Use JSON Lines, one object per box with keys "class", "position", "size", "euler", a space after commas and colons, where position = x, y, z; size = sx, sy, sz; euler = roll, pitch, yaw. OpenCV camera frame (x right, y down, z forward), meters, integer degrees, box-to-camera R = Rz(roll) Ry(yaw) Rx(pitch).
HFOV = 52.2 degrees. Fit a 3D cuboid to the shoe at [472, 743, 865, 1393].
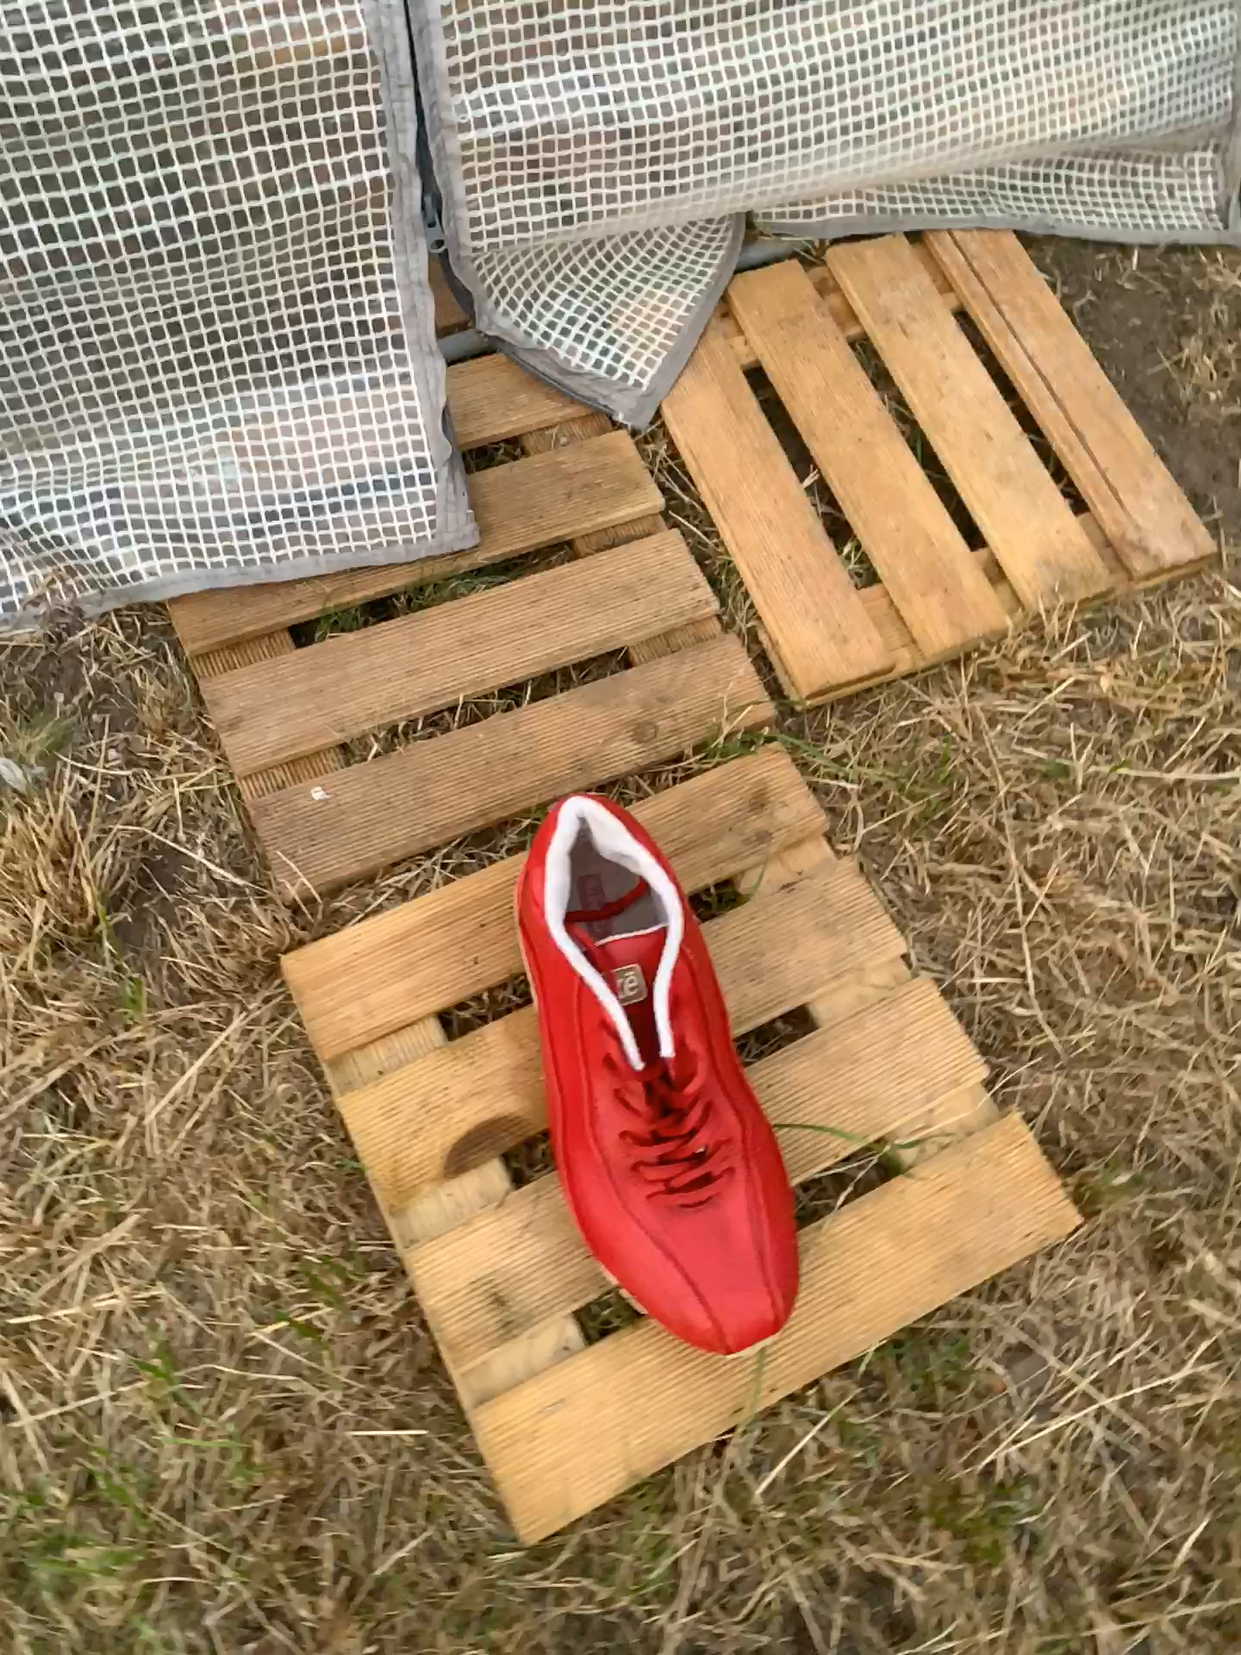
{"class": "shoe", "position": [0.011, 0.107, 0.591], "size": [0.100, 0.099, 0.261], "euler": [-13, 71, -9]}
